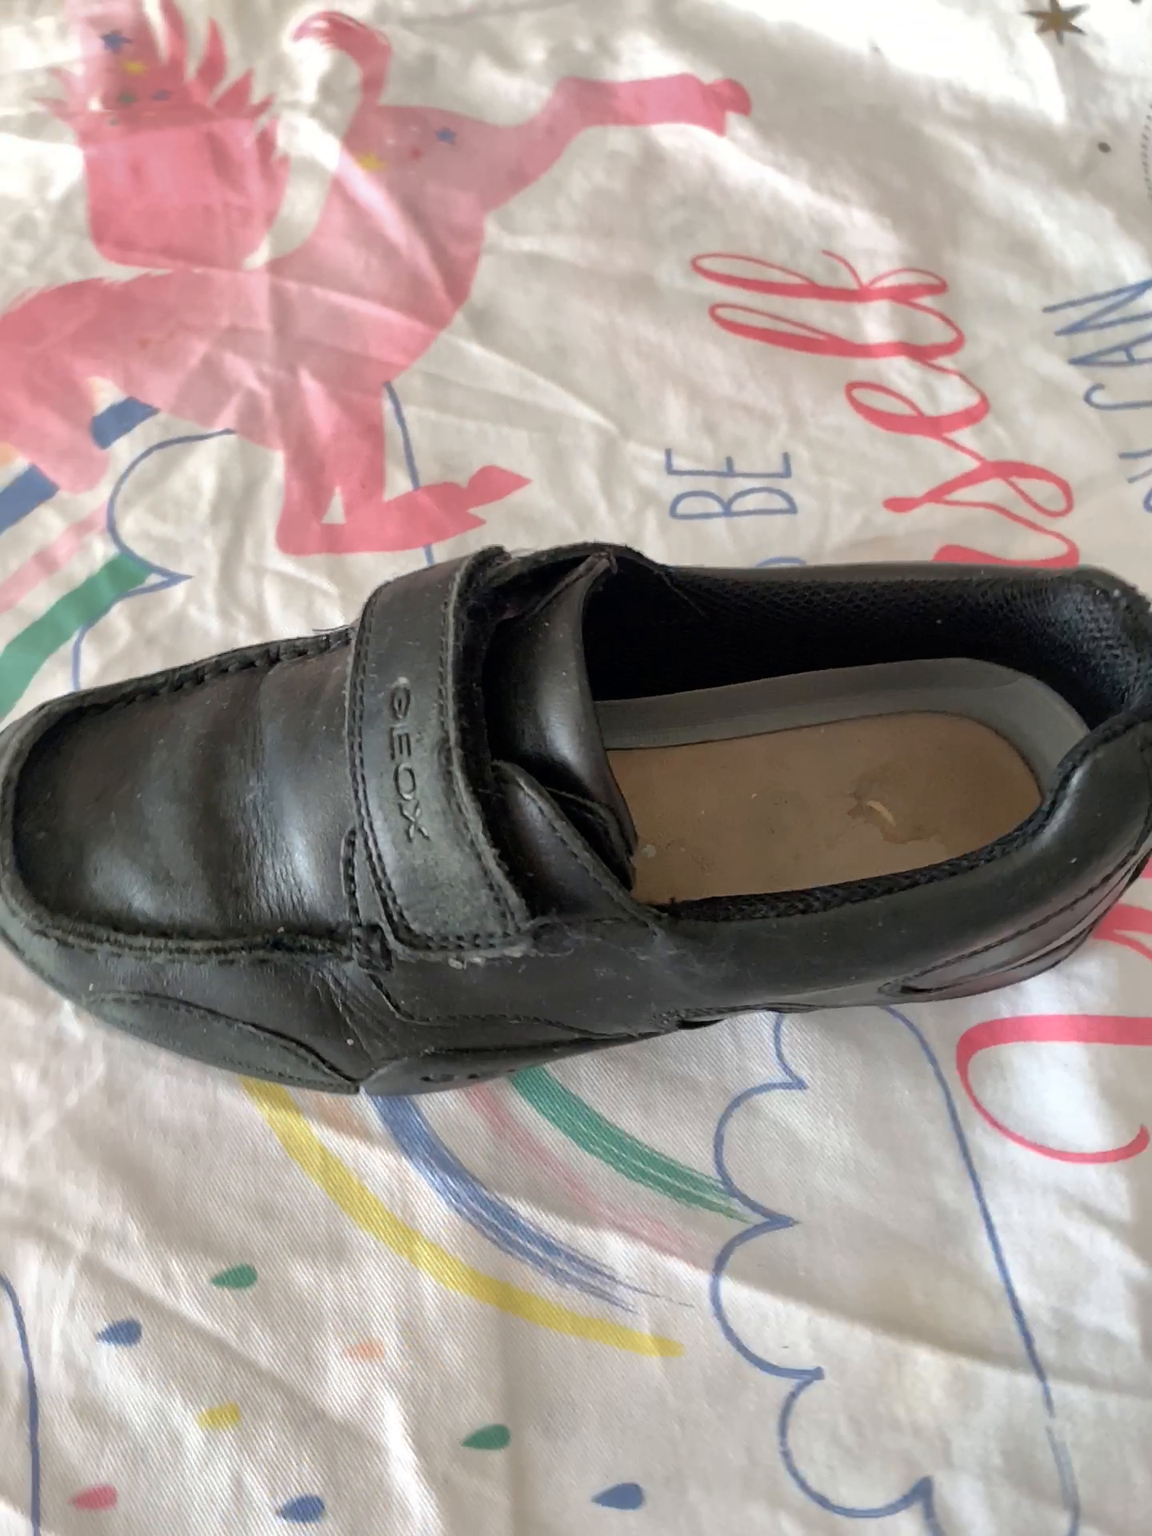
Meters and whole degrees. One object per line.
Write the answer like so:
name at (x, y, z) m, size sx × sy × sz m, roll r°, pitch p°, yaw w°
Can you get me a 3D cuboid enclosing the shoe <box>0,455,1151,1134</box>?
shoe at (-0.007, 0.021, 0.238) m, size 0.220 × 0.139 × 0.080 m, roll -3°, pitch 69°, yaw 3°
